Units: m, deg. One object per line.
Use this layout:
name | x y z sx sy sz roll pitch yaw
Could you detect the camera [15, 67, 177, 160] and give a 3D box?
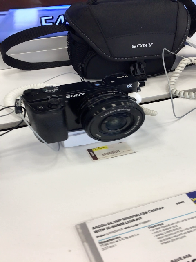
camera | -0.003 -0.023 0.290 0.146 0.056 0.067 -14 44 -13
